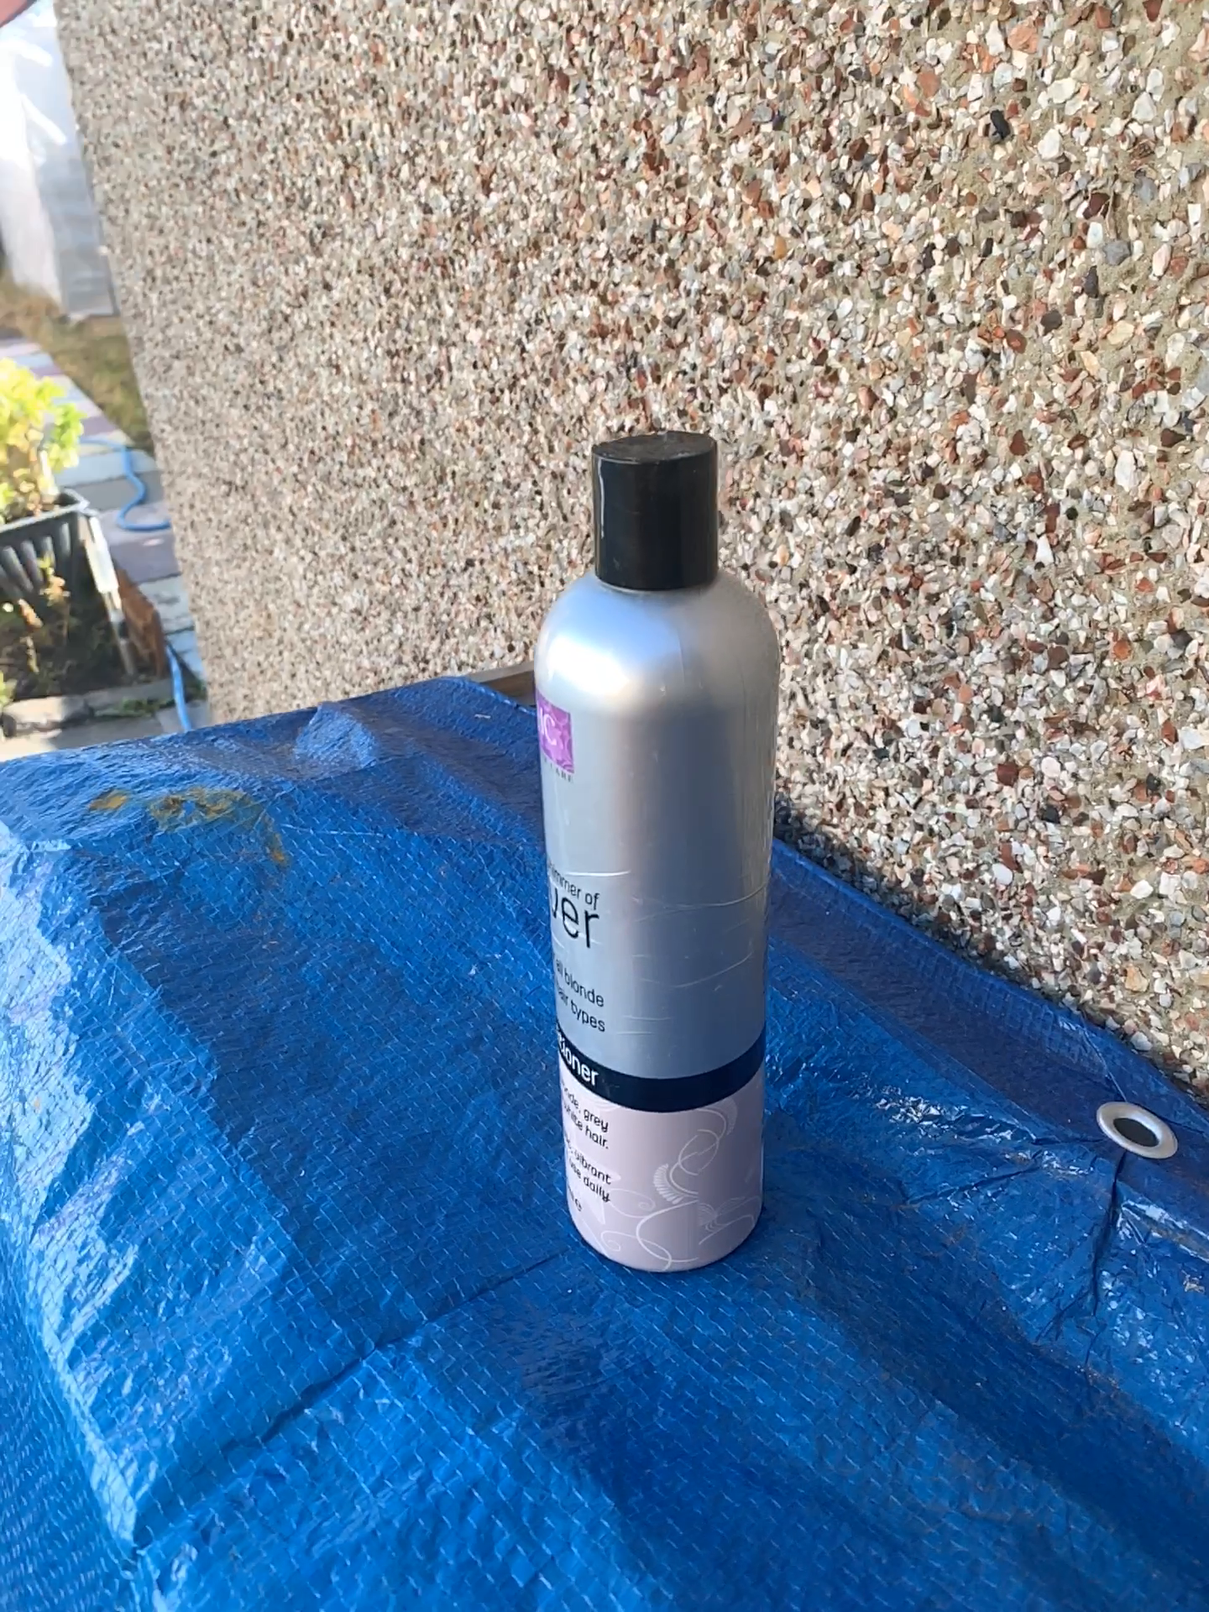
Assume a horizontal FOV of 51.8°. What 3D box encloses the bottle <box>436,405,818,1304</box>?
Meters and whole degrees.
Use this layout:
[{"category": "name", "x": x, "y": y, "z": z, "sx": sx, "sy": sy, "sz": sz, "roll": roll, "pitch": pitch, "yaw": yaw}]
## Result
[{"category": "bottle", "x": 0.007, "y": 0.015, "z": 0.299, "sx": 0.060, "sy": 0.198, "sz": 0.071, "roll": -10, "pitch": 29, "yaw": -13}]
